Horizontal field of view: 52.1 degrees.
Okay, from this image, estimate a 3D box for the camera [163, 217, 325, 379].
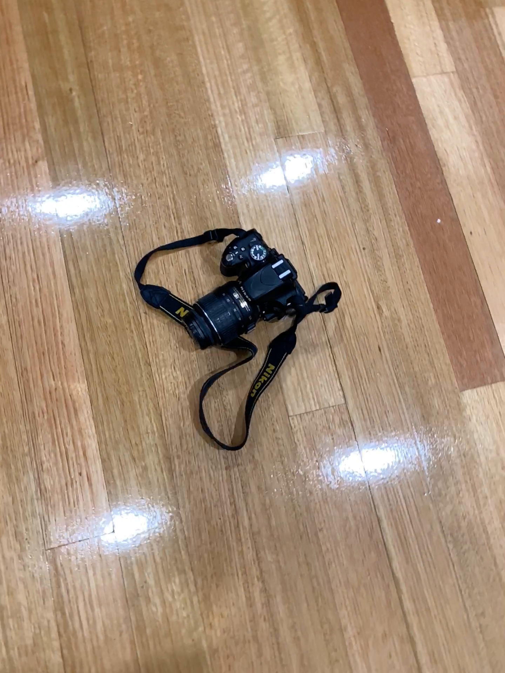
[{"bbox_3d":[-0.014,-0.048,0.700,0.160,0.100,0.130,-37,84,-13],"label":"camera"}]
